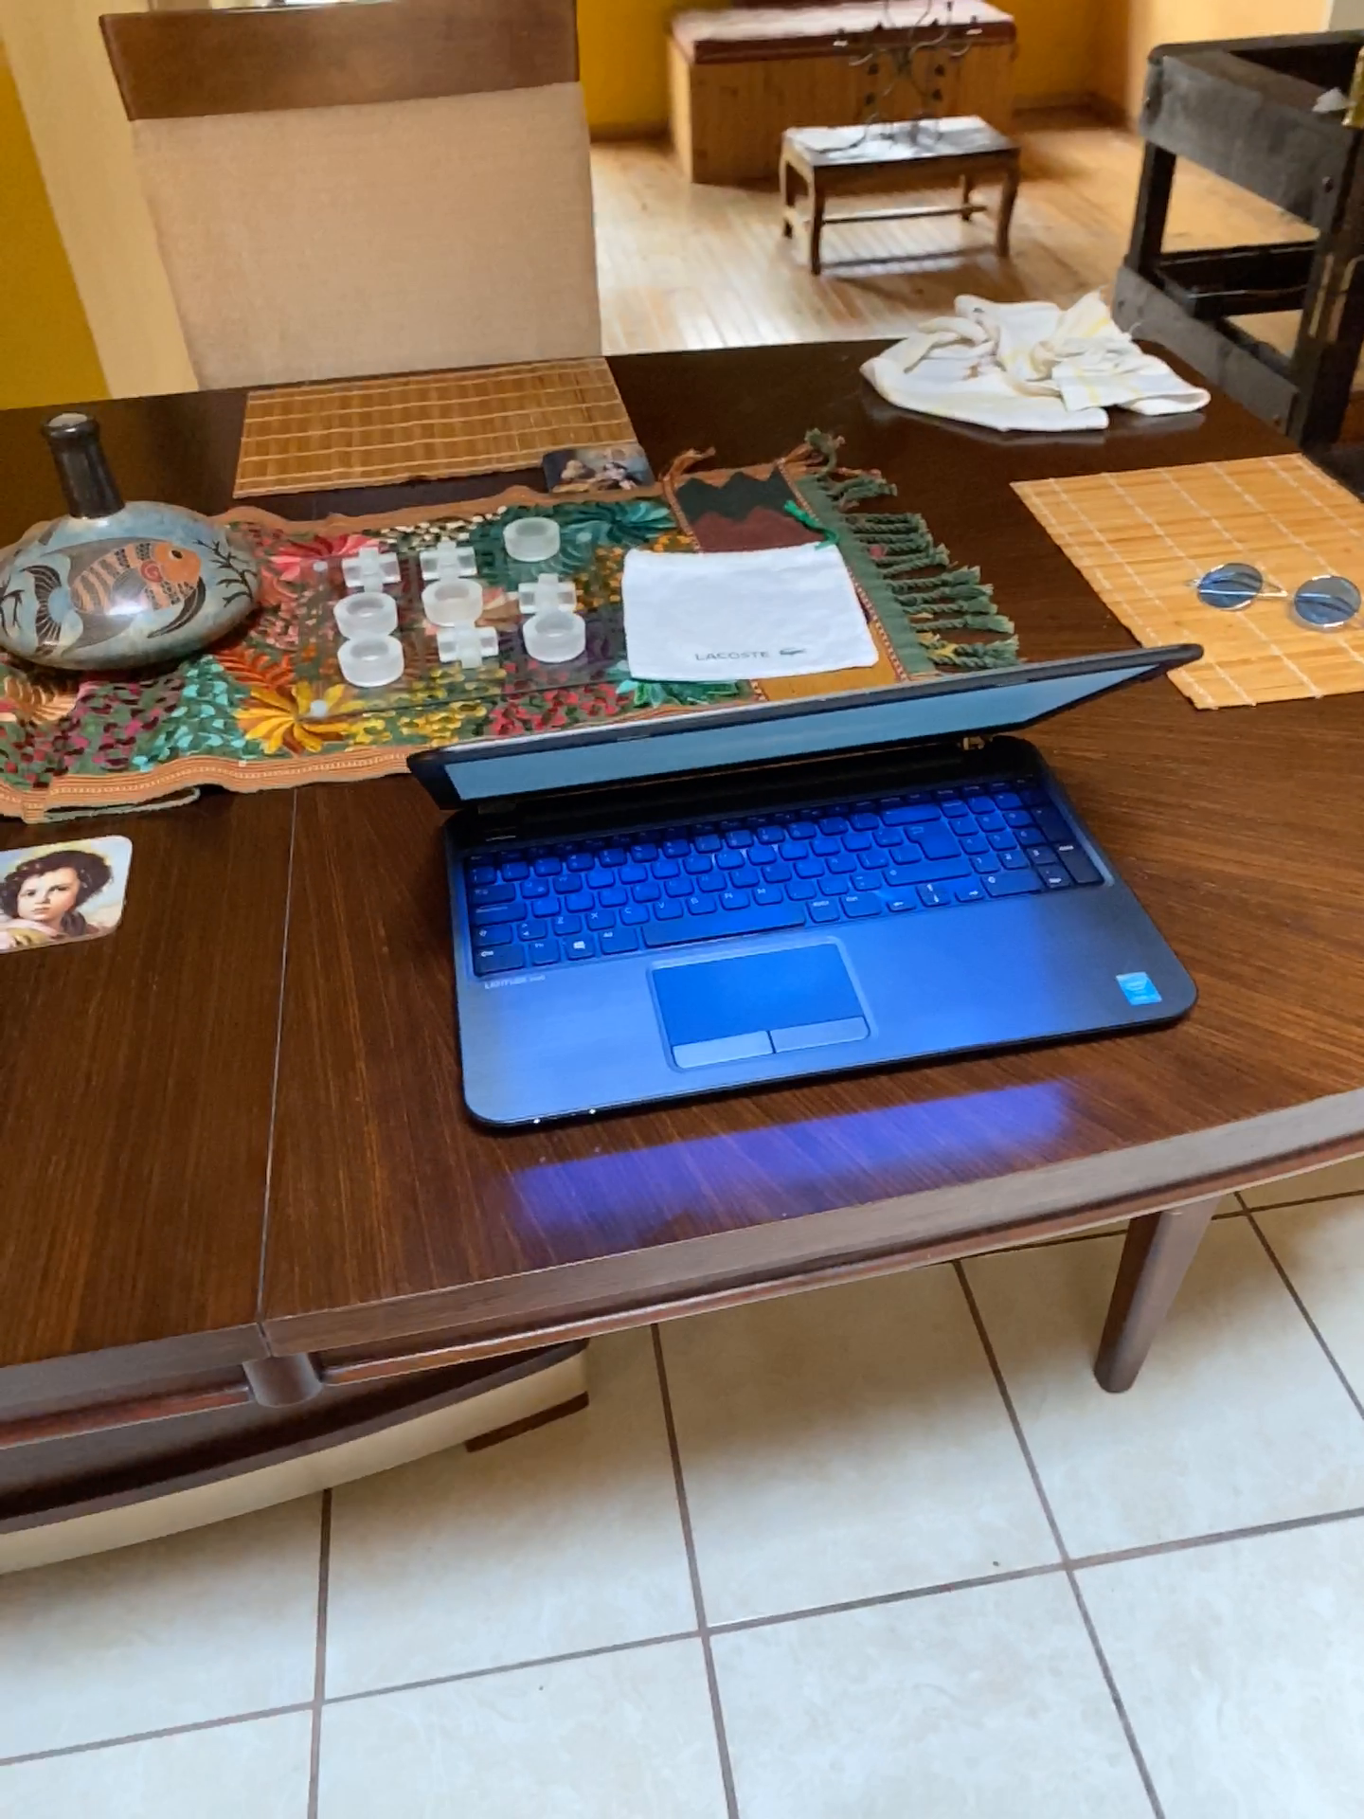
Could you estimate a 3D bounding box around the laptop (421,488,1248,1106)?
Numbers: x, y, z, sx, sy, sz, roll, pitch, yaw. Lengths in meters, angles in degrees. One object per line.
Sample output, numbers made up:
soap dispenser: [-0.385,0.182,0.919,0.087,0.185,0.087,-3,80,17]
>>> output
laptop: [0.056,-0.073,0.728,0.356,0.158,0.249,-9,40,-7]
